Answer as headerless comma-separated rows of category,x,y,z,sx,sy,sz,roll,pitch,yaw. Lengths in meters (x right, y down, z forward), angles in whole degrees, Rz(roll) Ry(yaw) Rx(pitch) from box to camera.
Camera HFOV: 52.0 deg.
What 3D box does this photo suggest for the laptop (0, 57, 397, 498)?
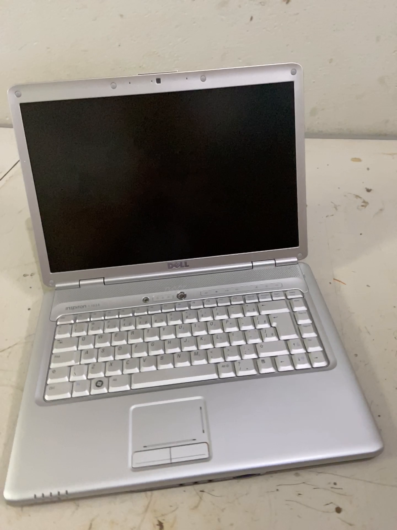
laptop,-0.023,-0.024,0.429,0.349,0.208,0.379,-6,46,-3
